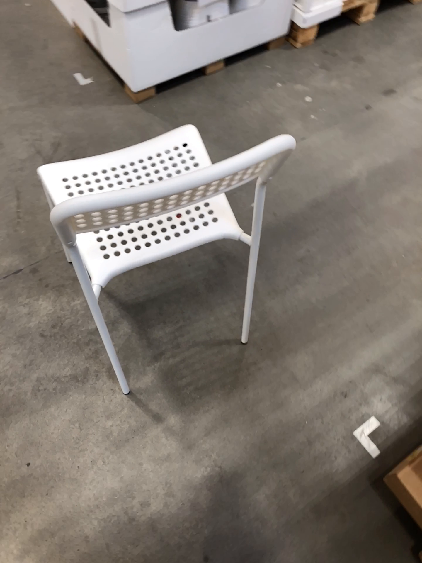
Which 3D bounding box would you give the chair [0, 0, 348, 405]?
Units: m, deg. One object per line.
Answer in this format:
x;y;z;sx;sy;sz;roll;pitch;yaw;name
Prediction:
-0.137;-0.152;0.994;0.460;0.699;0.511;-19;63;-12;chair
